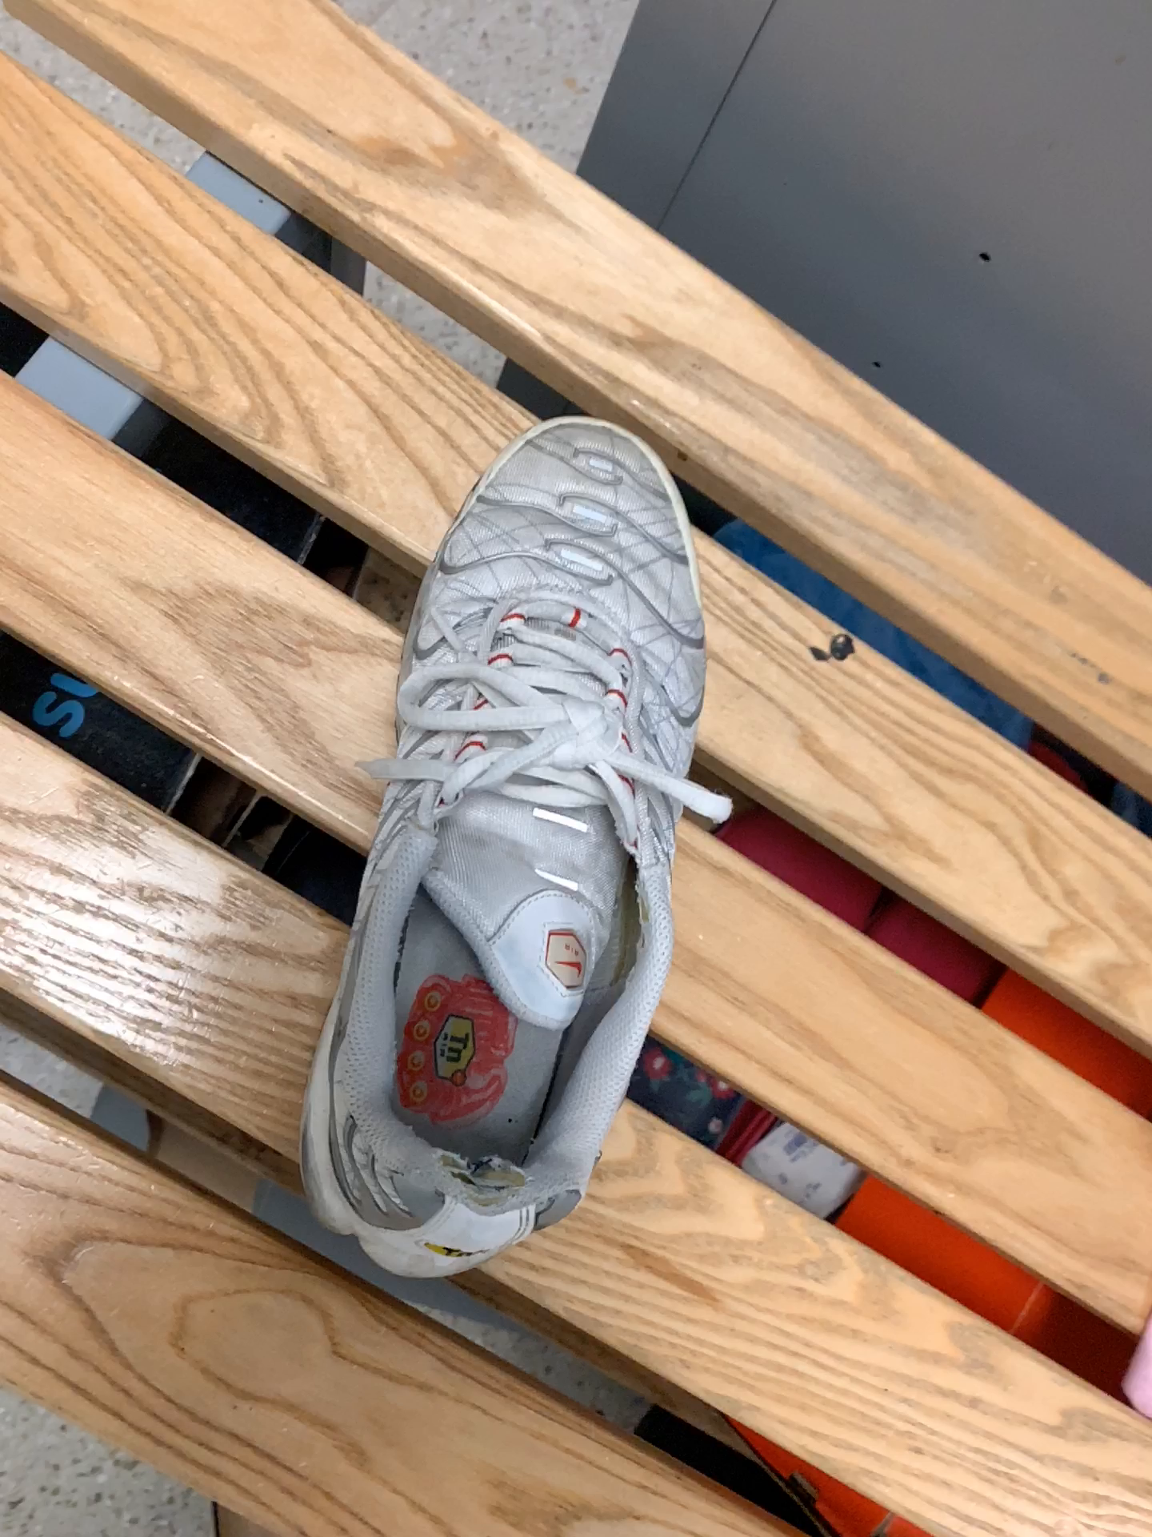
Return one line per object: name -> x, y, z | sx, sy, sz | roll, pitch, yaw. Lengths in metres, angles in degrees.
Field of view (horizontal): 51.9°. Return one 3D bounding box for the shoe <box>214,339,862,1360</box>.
shoe -> -0.012, 0.021, 0.335 | 0.100, 0.105, 0.227 | 18, 77, -10
